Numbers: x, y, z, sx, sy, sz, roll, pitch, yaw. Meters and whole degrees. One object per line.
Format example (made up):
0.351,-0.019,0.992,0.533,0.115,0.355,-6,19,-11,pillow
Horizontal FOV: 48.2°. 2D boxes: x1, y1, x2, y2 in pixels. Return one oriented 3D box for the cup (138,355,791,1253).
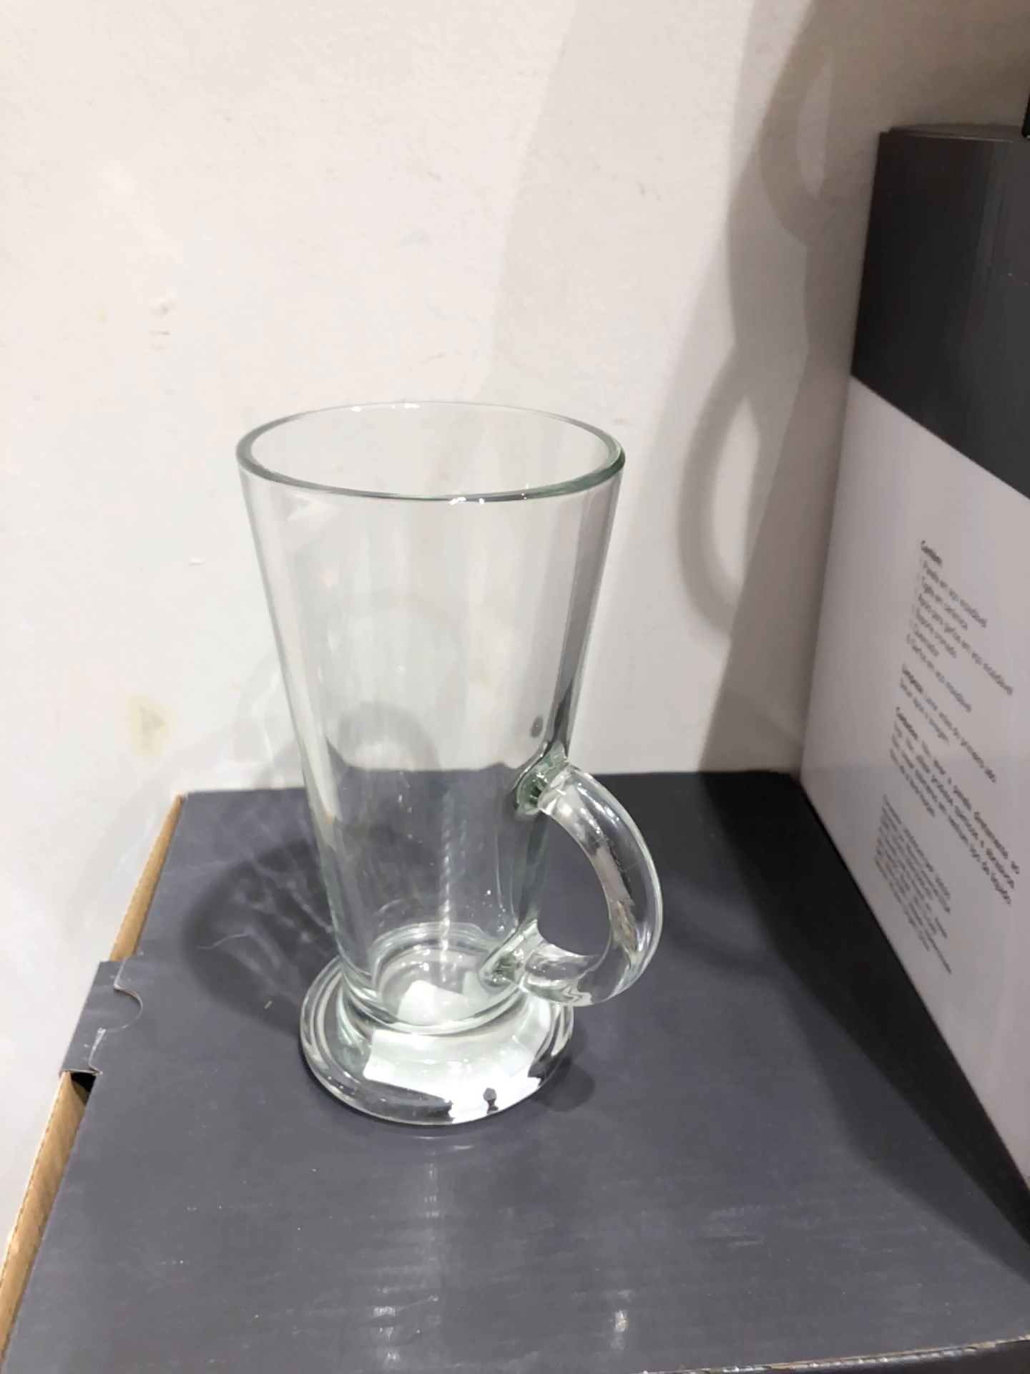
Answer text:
-0.009,0.018,0.247,0.090,0.149,0.080,20,33,33,cup
